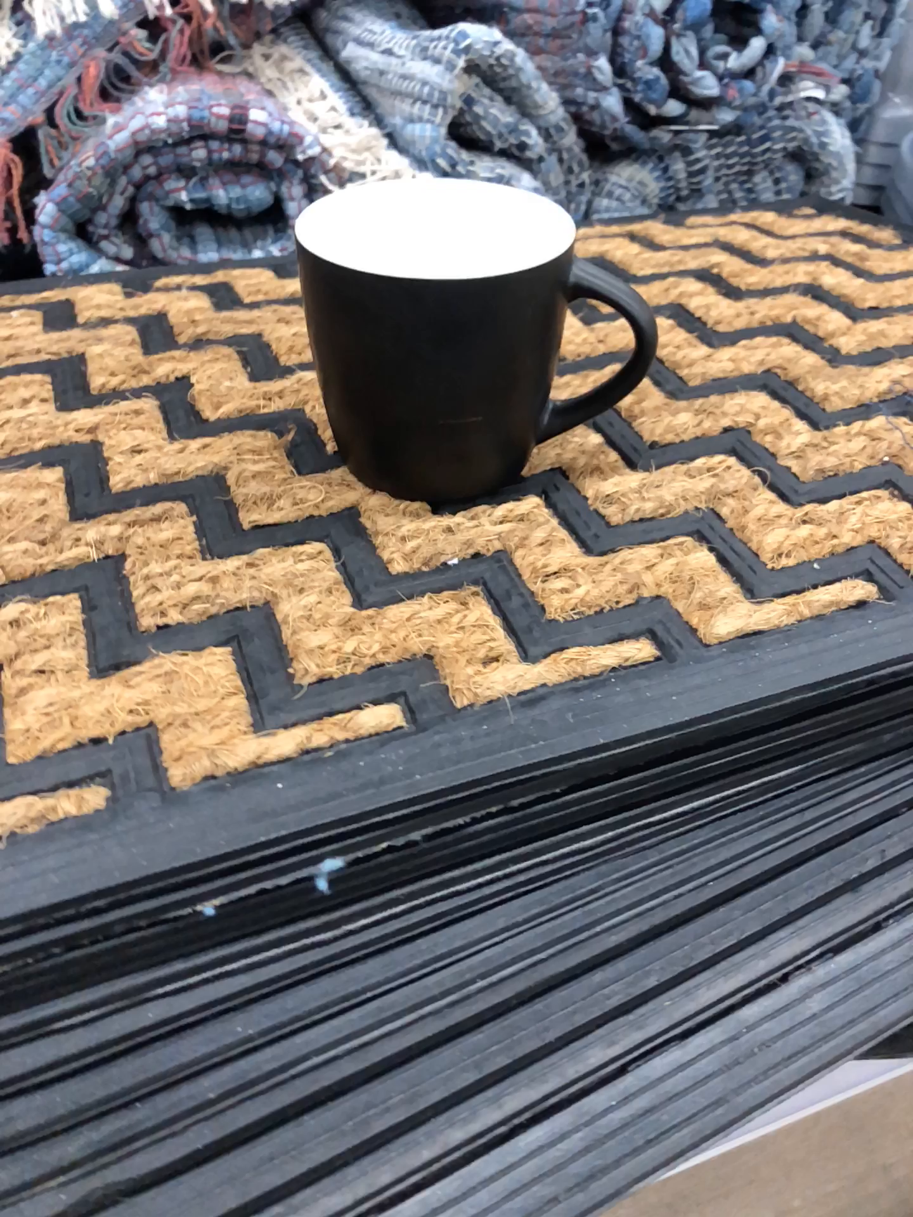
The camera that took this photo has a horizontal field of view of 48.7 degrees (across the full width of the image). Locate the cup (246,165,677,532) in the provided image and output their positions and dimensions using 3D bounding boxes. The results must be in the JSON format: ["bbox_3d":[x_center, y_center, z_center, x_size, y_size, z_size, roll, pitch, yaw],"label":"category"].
[{"bbox_3d":[0.006,-0.093,0.349,0.123,0.081,0.090,8,41,9],"label":"cup"}]
